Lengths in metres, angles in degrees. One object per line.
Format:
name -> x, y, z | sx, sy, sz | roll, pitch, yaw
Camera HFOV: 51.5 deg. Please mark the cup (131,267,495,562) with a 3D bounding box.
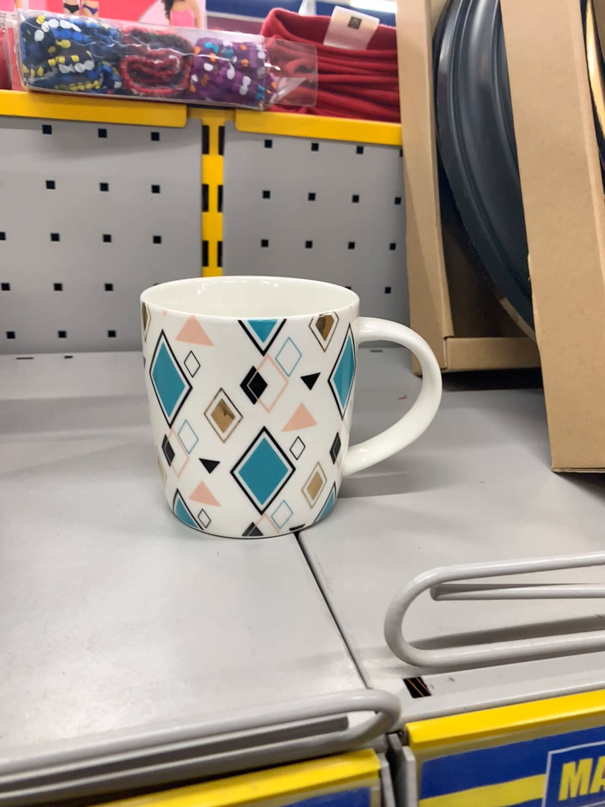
cup -> -0.003, -0.002, 0.266 | 0.120, 0.090, 0.100 | 0, 20, -8
